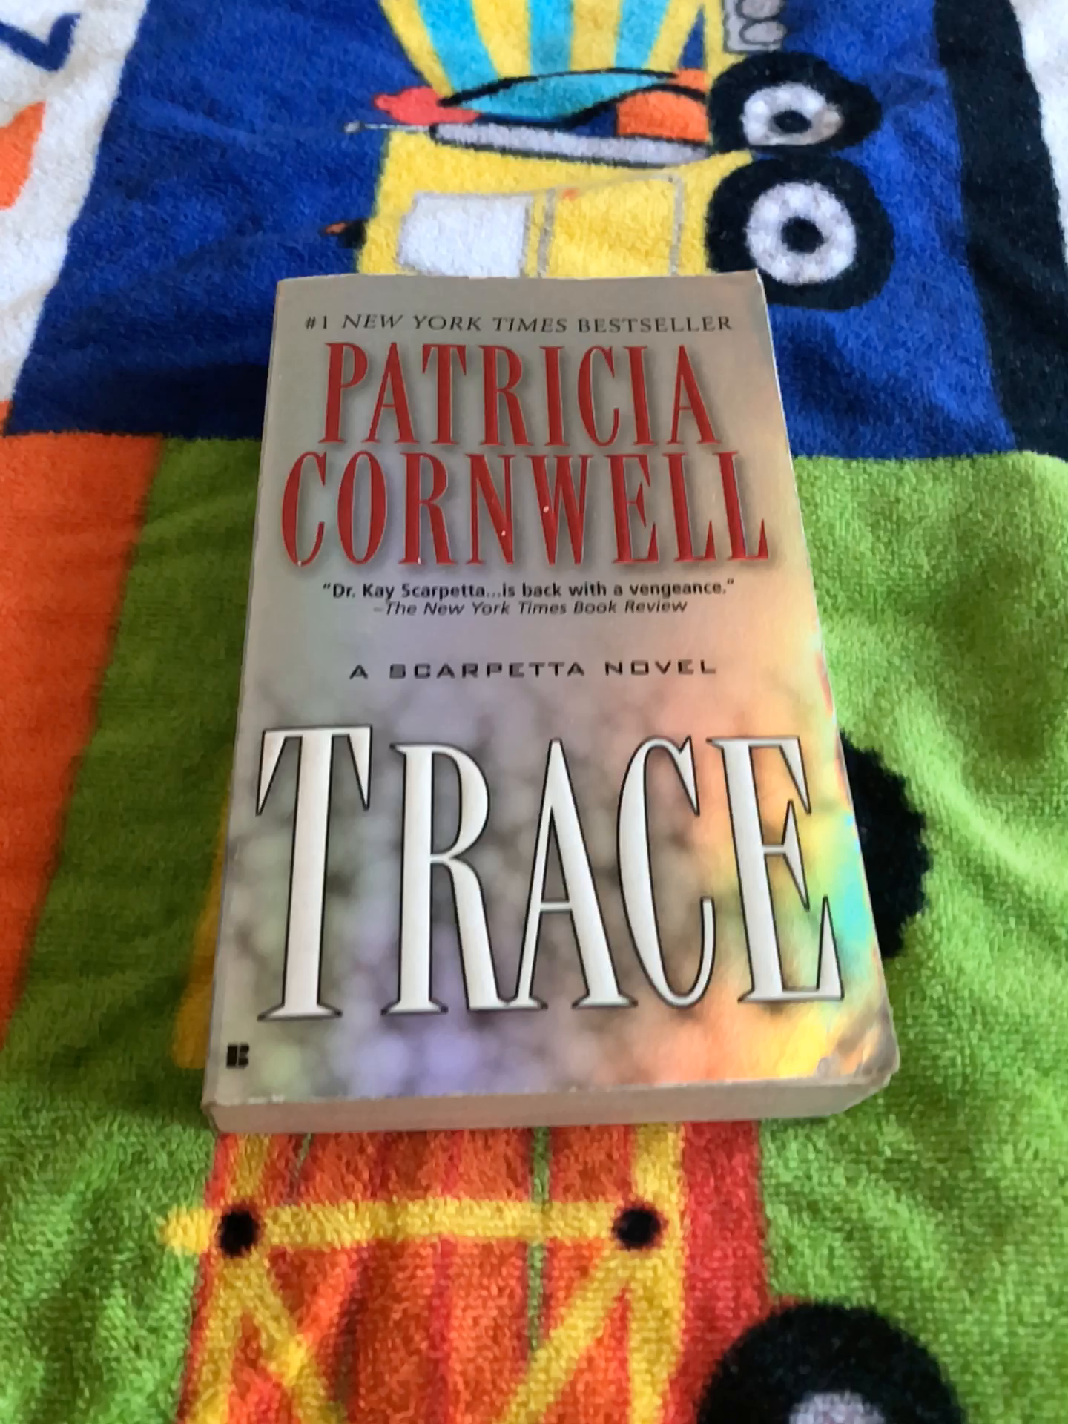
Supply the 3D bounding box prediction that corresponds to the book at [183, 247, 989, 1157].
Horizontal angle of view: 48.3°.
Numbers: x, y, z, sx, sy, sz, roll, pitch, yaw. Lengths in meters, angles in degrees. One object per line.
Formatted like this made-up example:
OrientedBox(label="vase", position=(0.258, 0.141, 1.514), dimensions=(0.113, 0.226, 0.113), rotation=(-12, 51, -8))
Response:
OrientedBox(label="book", position=(0.005, -0.011, 0.237), dimensions=(0.120, 0.040, 0.181), rotation=(0, 61, -5))
